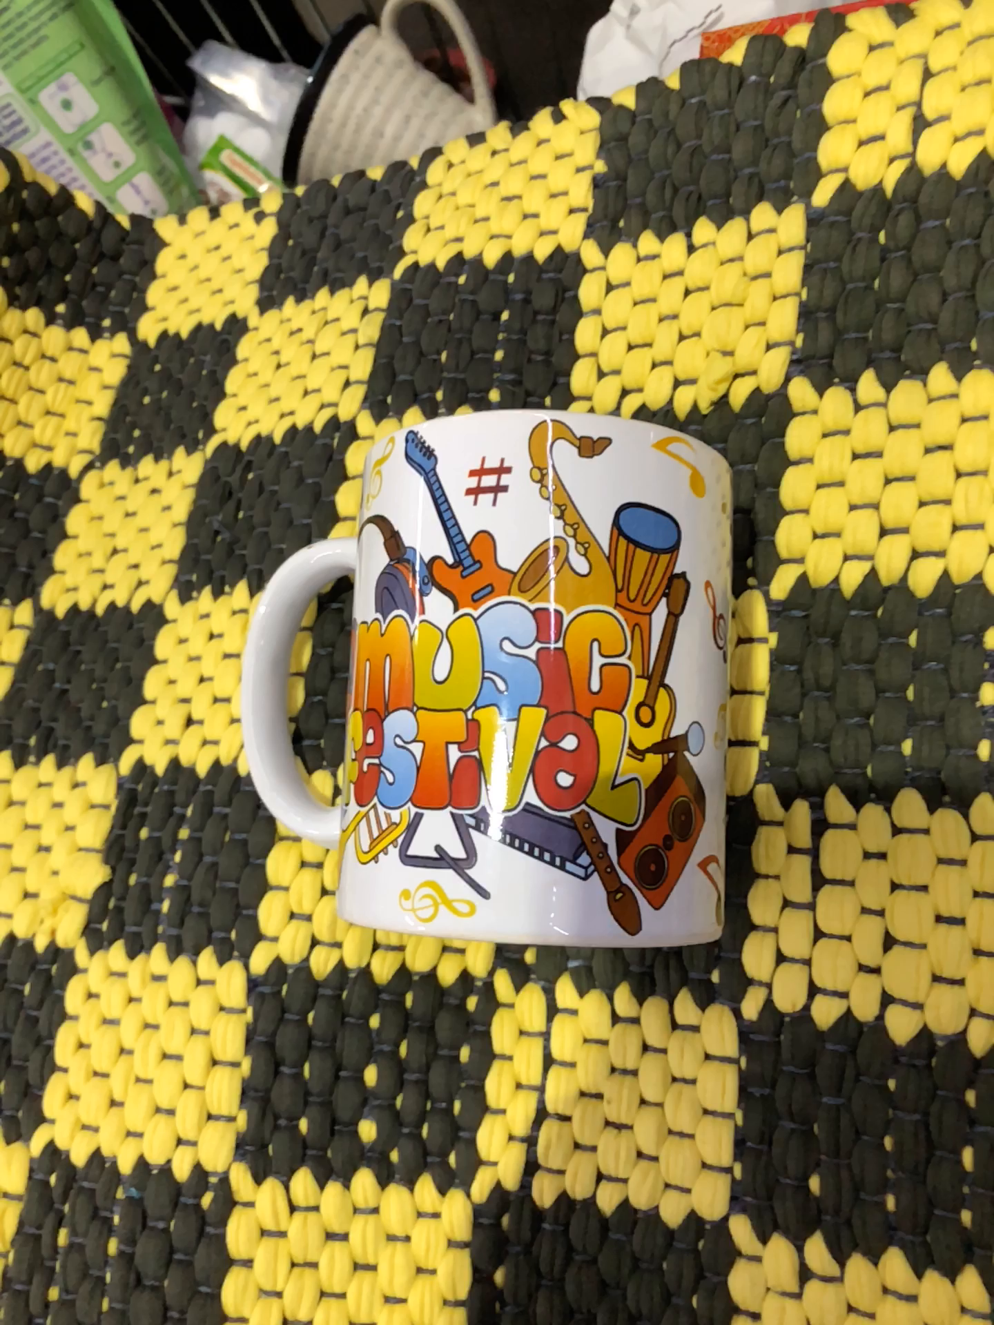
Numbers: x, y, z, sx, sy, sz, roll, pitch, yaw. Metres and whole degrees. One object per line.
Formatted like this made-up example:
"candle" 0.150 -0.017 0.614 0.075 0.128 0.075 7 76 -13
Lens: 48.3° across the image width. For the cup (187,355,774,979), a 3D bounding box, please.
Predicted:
"cup" -0.005 0.007 0.235 0.100 0.070 0.100 -13 72 45
